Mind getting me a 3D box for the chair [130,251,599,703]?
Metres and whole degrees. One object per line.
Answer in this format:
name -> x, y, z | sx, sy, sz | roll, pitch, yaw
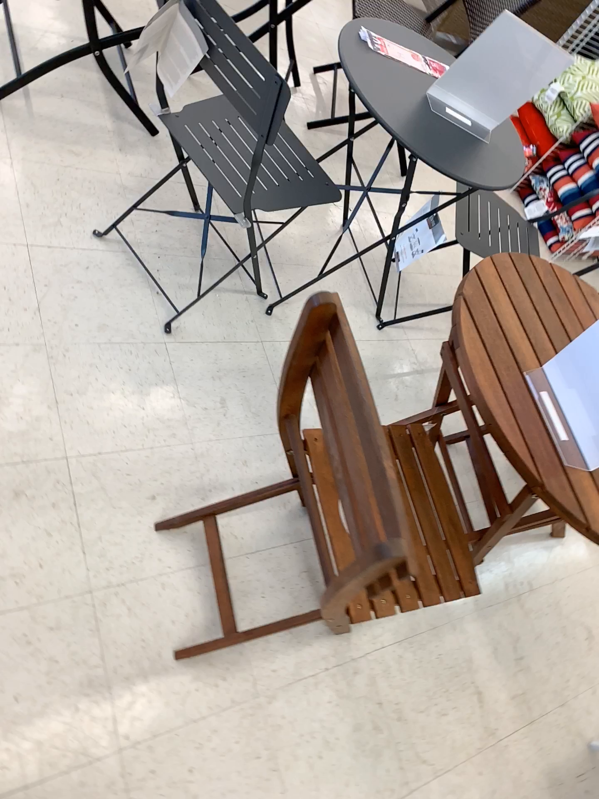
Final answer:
chair -> 0.105, 0.191, 1.094 | 0.552, 0.776, 0.440 | -1, 63, -33
